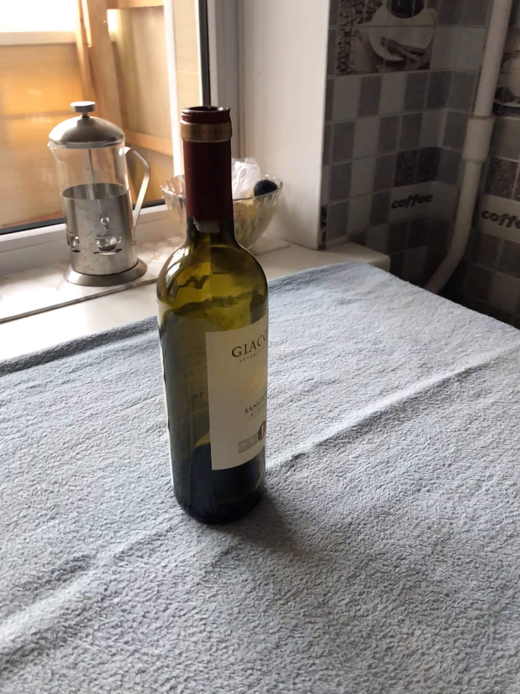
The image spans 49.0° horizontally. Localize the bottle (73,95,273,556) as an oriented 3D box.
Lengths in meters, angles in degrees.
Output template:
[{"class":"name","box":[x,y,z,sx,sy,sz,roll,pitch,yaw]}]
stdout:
[{"class":"bottle","box":[-0.046,-0.004,0.391,0.080,0.299,0.080,0,29,0]}]
